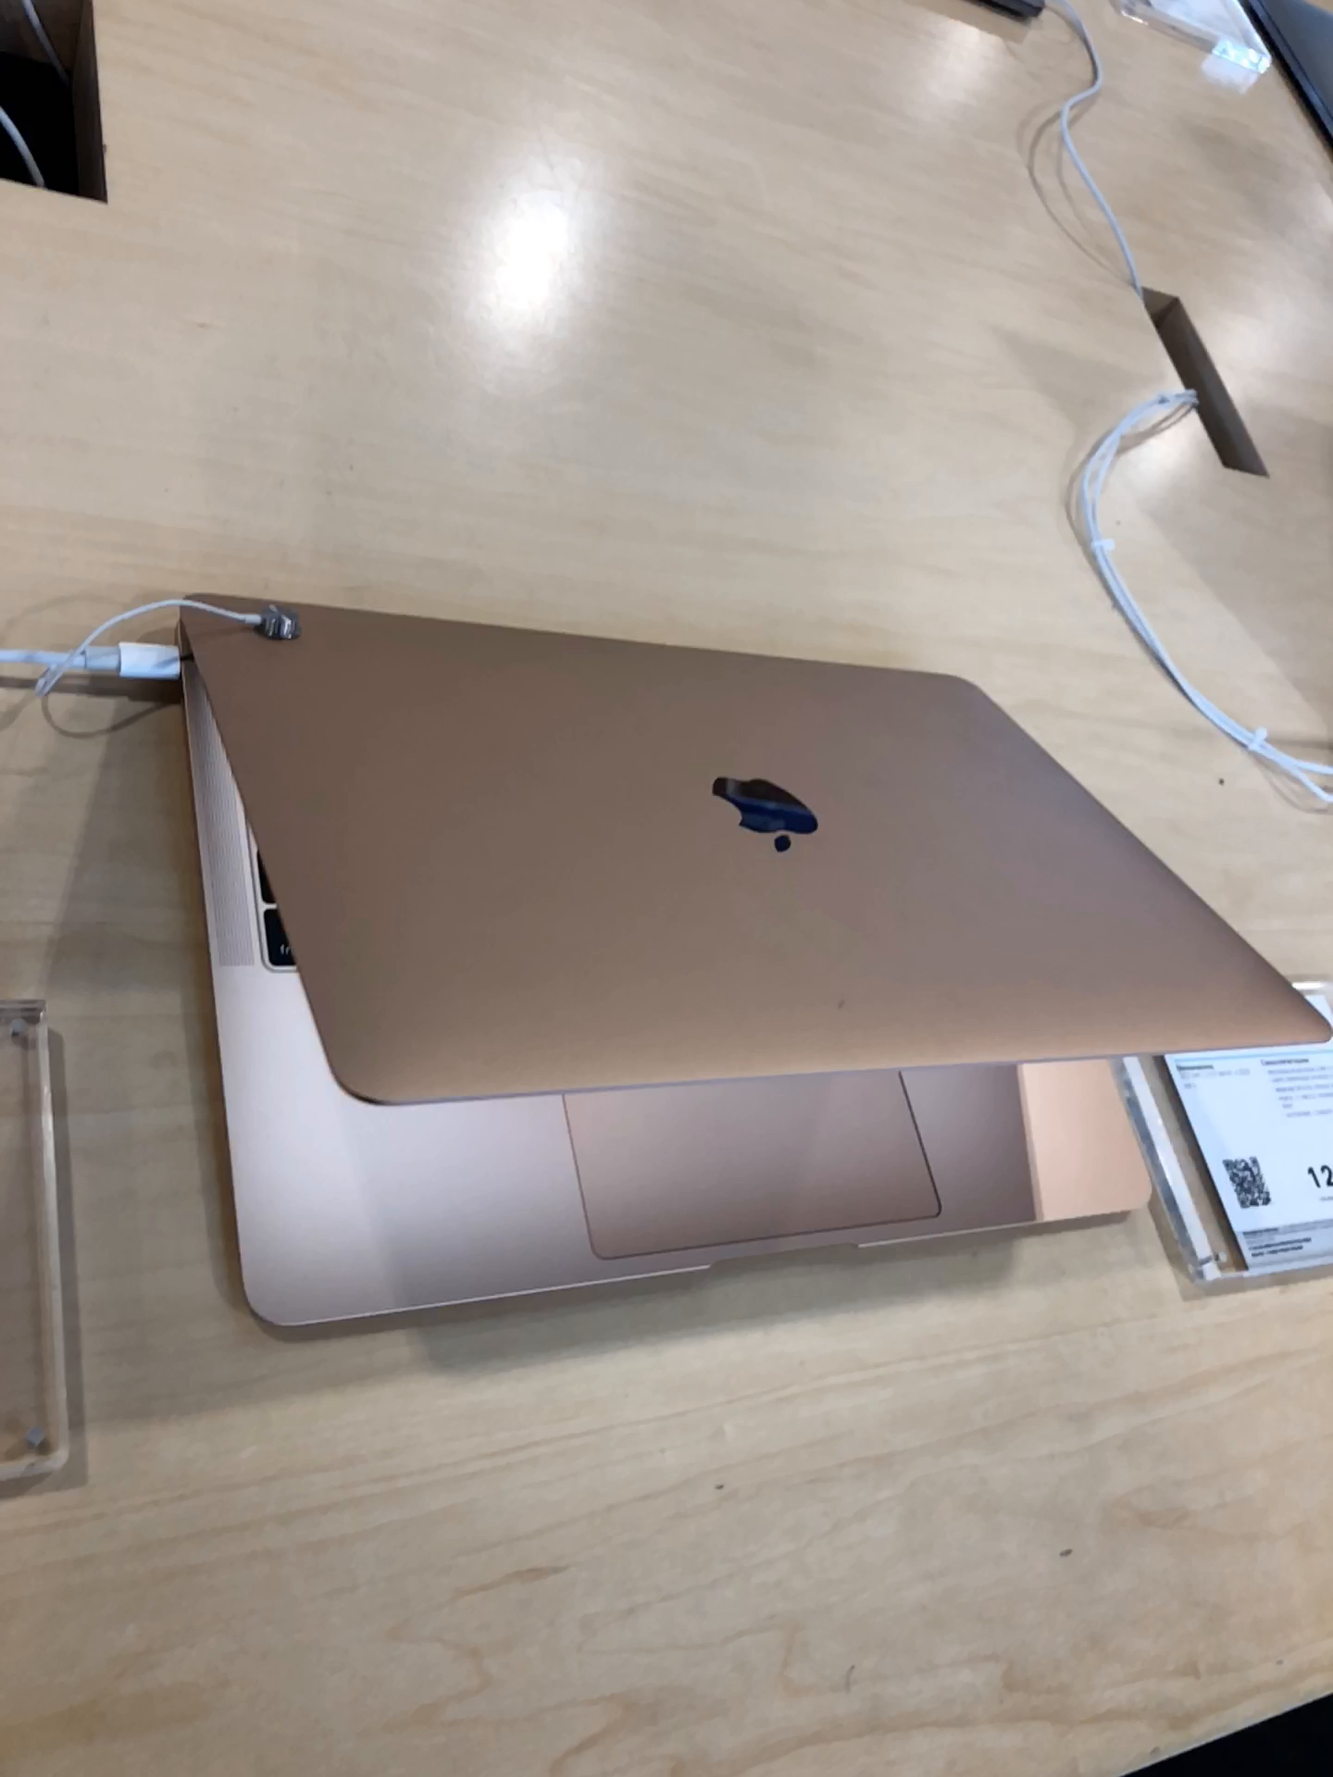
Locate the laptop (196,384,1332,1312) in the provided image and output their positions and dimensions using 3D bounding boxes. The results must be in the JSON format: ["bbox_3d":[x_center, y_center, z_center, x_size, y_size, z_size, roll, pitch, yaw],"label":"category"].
[{"bbox_3d":[0.030,-0.013,0.422,0.289,0.093,0.203,1,61,-30],"label":"laptop"}]
